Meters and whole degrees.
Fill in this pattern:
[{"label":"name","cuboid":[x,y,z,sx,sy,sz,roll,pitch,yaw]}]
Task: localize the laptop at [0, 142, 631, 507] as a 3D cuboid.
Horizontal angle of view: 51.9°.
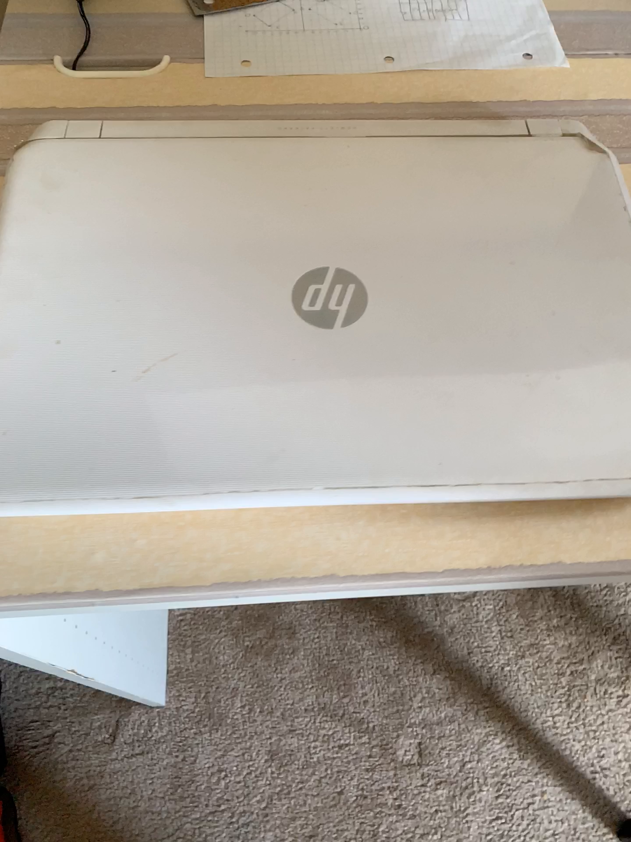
[{"label":"laptop","cuboid":[0.008,-0.069,0.356,0.363,0.002,0.229,-2,64,-2]}]
